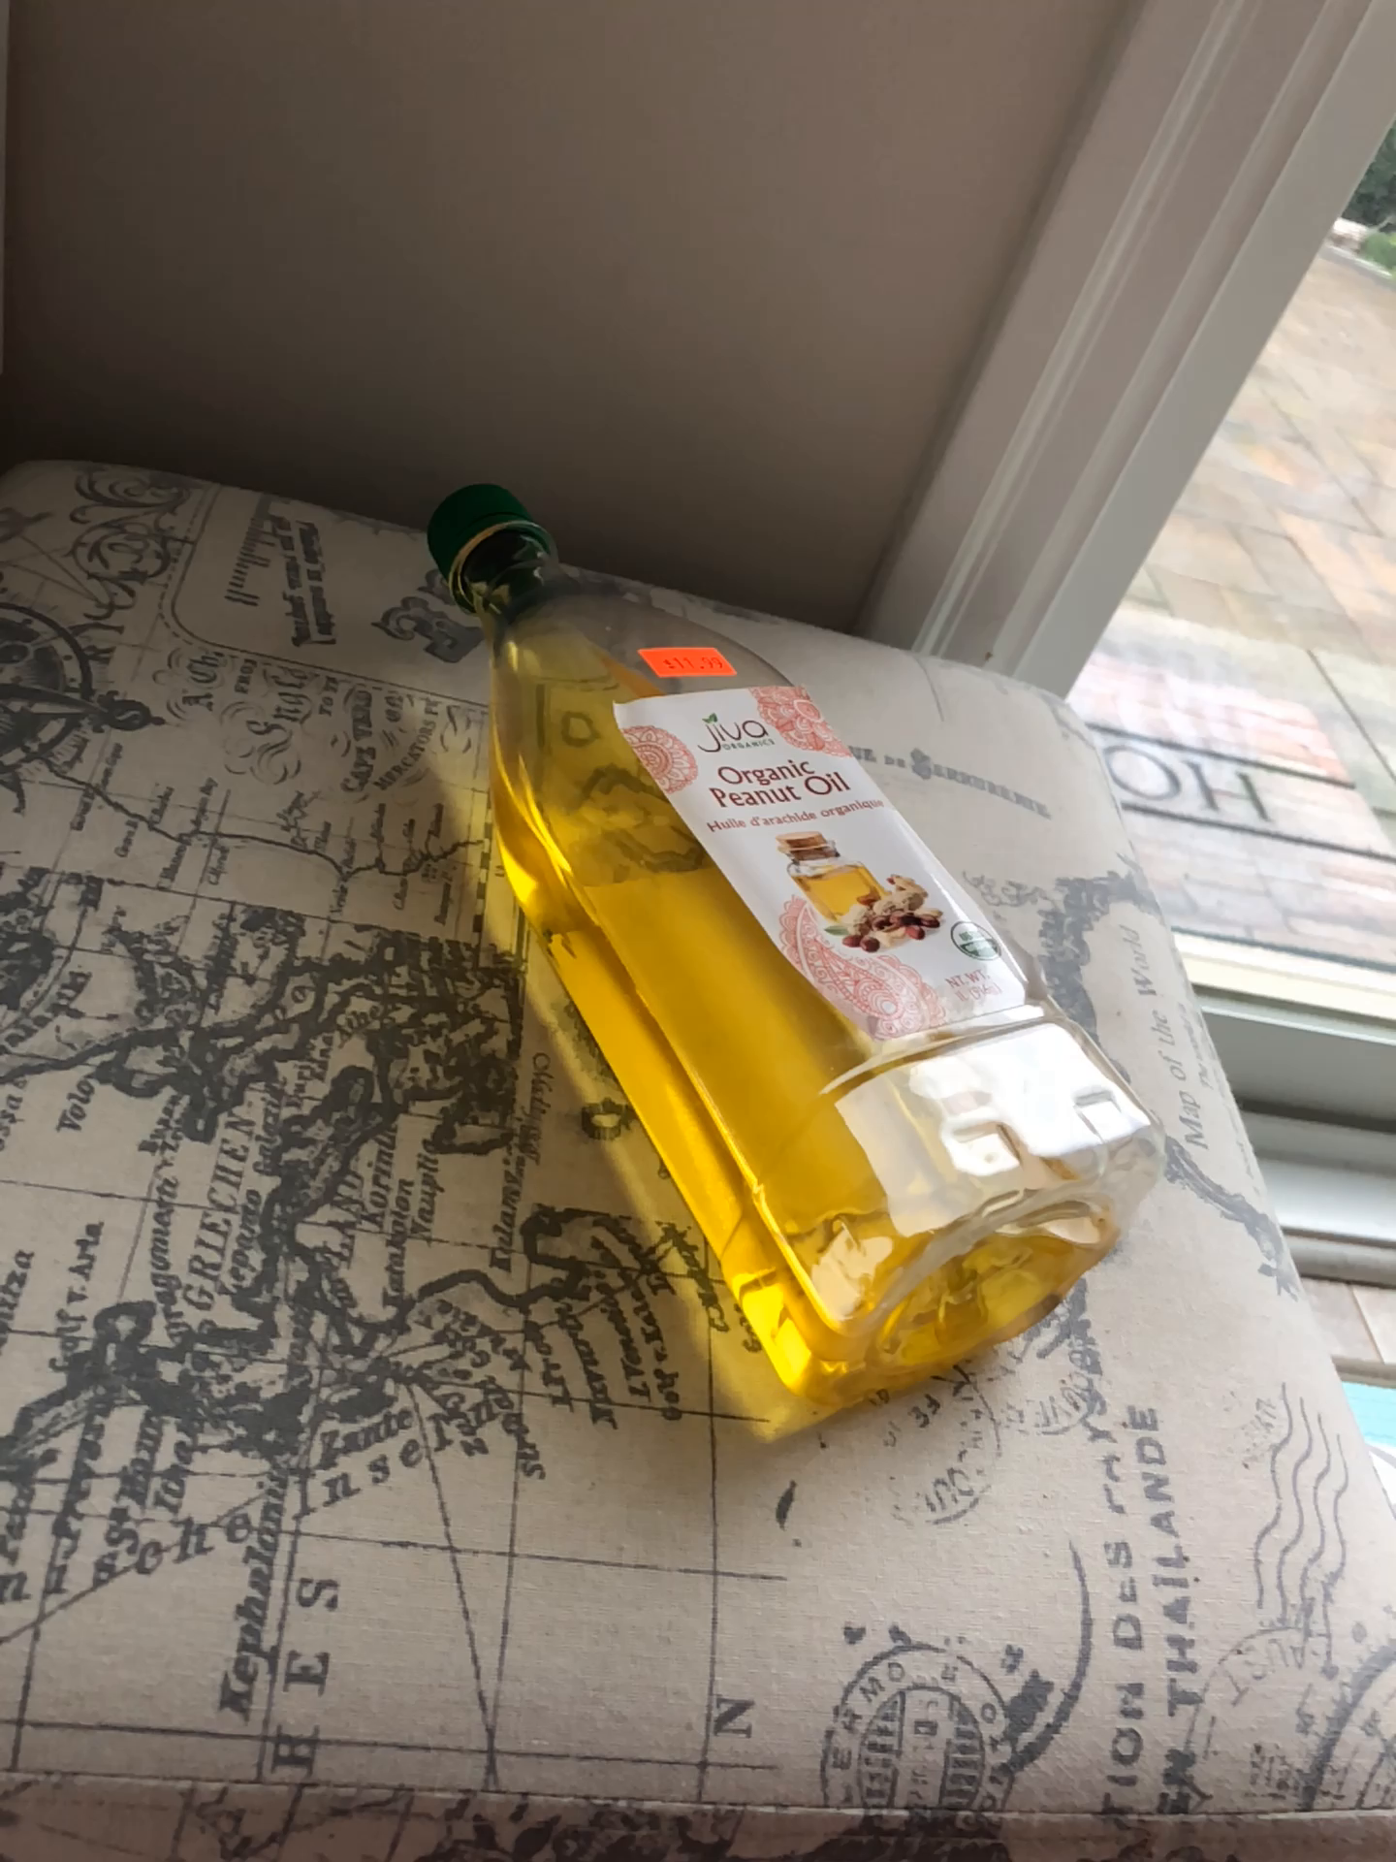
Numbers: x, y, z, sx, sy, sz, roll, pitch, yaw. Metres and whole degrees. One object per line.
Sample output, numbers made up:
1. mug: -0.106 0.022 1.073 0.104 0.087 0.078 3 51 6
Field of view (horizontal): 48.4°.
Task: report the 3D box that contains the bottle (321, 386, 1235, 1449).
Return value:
1. bottle: -0.002 -0.025 0.374 0.080 0.070 0.270 -9 51 -33
